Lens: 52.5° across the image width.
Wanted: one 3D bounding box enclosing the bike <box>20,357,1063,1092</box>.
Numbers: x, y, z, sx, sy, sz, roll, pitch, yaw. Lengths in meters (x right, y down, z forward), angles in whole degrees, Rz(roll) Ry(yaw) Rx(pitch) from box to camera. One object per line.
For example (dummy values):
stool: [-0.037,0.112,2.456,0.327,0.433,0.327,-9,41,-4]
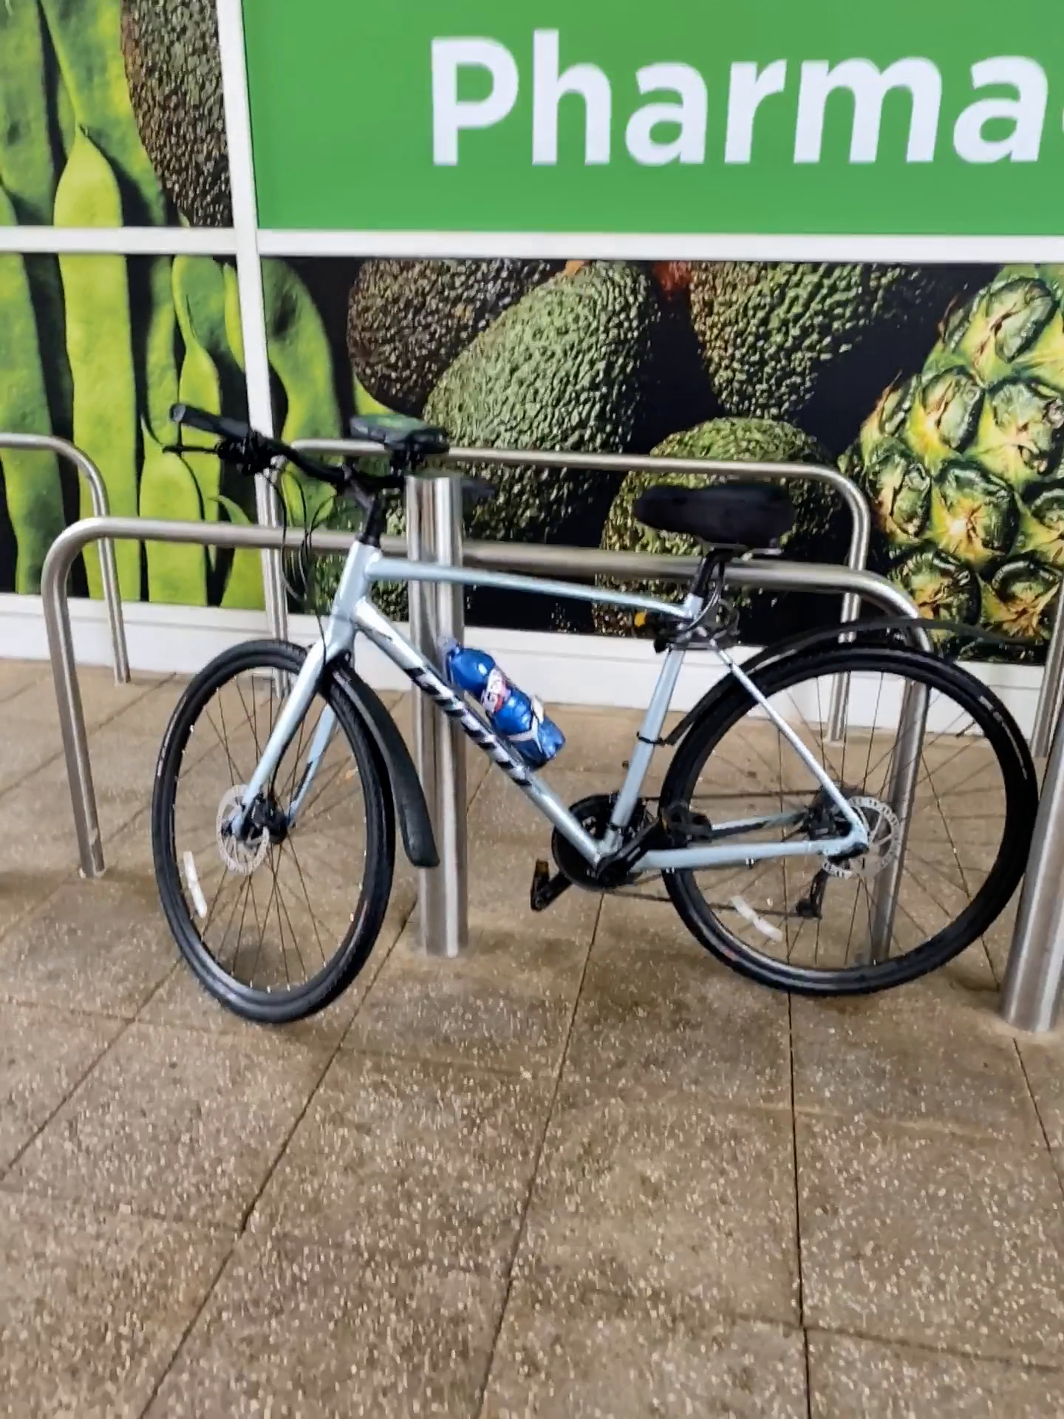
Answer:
bike: [0.089,-0.029,1.763,1.461,0.963,0.608,2,21,3]
